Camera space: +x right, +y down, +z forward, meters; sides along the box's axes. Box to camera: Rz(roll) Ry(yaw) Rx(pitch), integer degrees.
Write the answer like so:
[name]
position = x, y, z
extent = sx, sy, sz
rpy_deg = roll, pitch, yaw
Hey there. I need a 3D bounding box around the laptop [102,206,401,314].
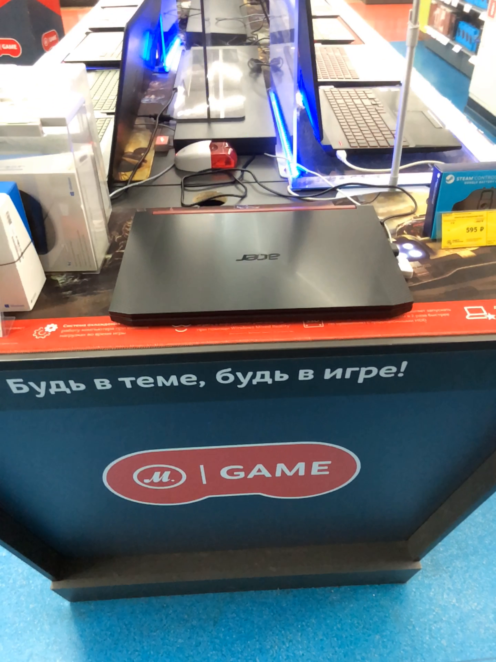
[laptop]
position = 0.002, -0.105, 0.730
extent = 0.350, 0.005, 0.244
rpy_deg = -2, 40, -2
